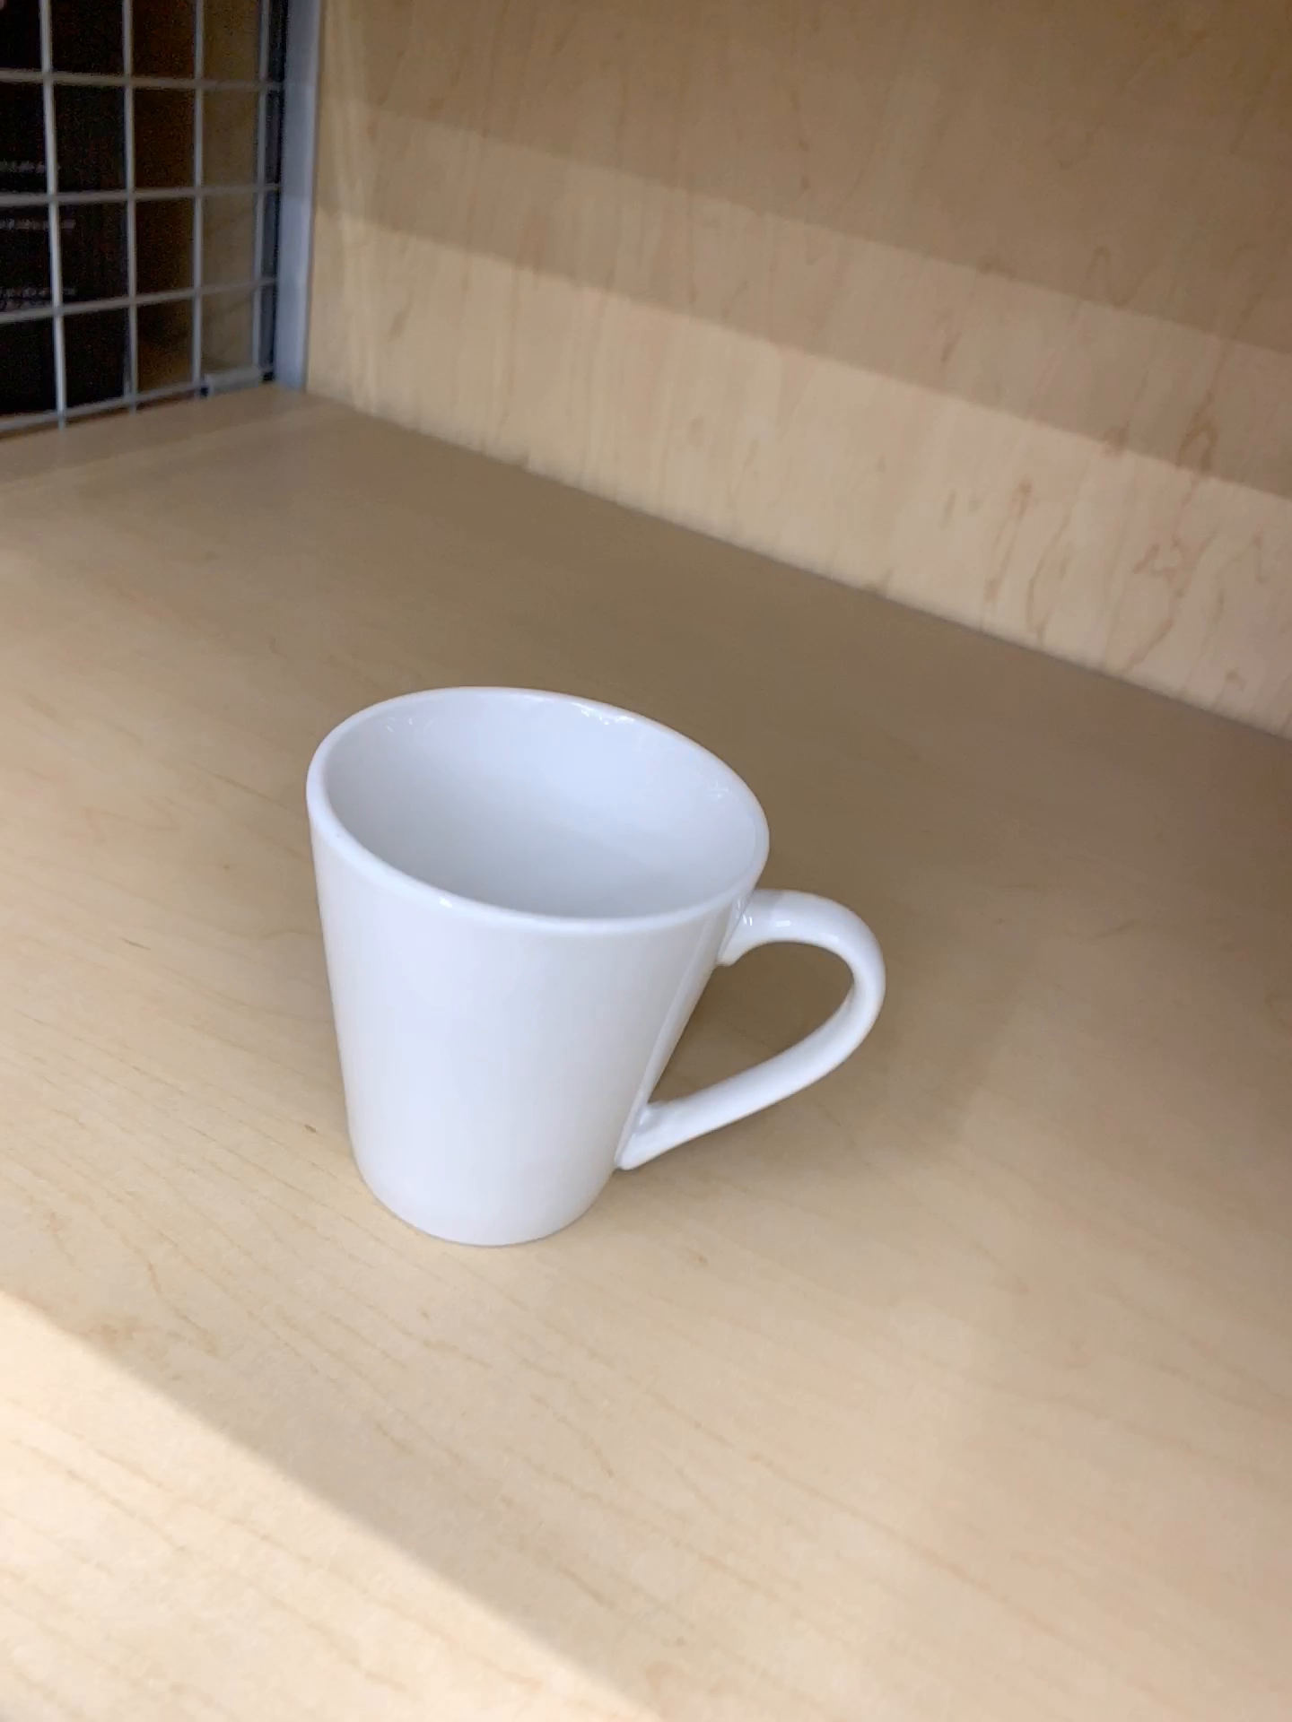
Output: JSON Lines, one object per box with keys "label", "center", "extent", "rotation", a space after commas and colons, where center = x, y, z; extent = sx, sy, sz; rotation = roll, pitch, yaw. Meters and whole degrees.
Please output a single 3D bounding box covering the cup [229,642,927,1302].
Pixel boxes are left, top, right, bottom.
{"label": "cup", "center": [-0.016, 0.023, 0.307], "extent": [0.128, 0.090, 0.094], "rotation": [11, 35, -3]}
